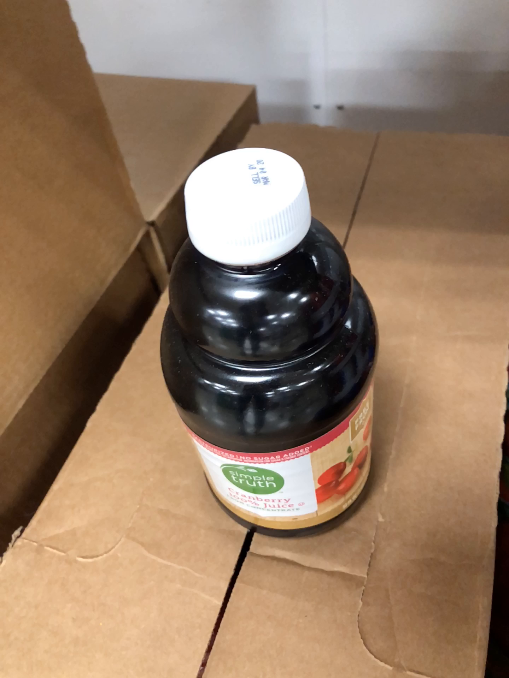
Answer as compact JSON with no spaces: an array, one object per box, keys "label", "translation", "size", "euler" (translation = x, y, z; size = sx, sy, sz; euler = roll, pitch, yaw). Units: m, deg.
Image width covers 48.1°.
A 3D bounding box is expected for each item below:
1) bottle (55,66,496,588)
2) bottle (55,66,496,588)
[{"label":"bottle","translation":[0.012,0.010,0.262],"size":[0.110,0.200,0.100],"euler":[-5,50,6]},{"label":"bottle","translation":[0.012,0.010,0.262],"size":[0.110,0.200,0.100],"euler":[-5,50,6]}]
